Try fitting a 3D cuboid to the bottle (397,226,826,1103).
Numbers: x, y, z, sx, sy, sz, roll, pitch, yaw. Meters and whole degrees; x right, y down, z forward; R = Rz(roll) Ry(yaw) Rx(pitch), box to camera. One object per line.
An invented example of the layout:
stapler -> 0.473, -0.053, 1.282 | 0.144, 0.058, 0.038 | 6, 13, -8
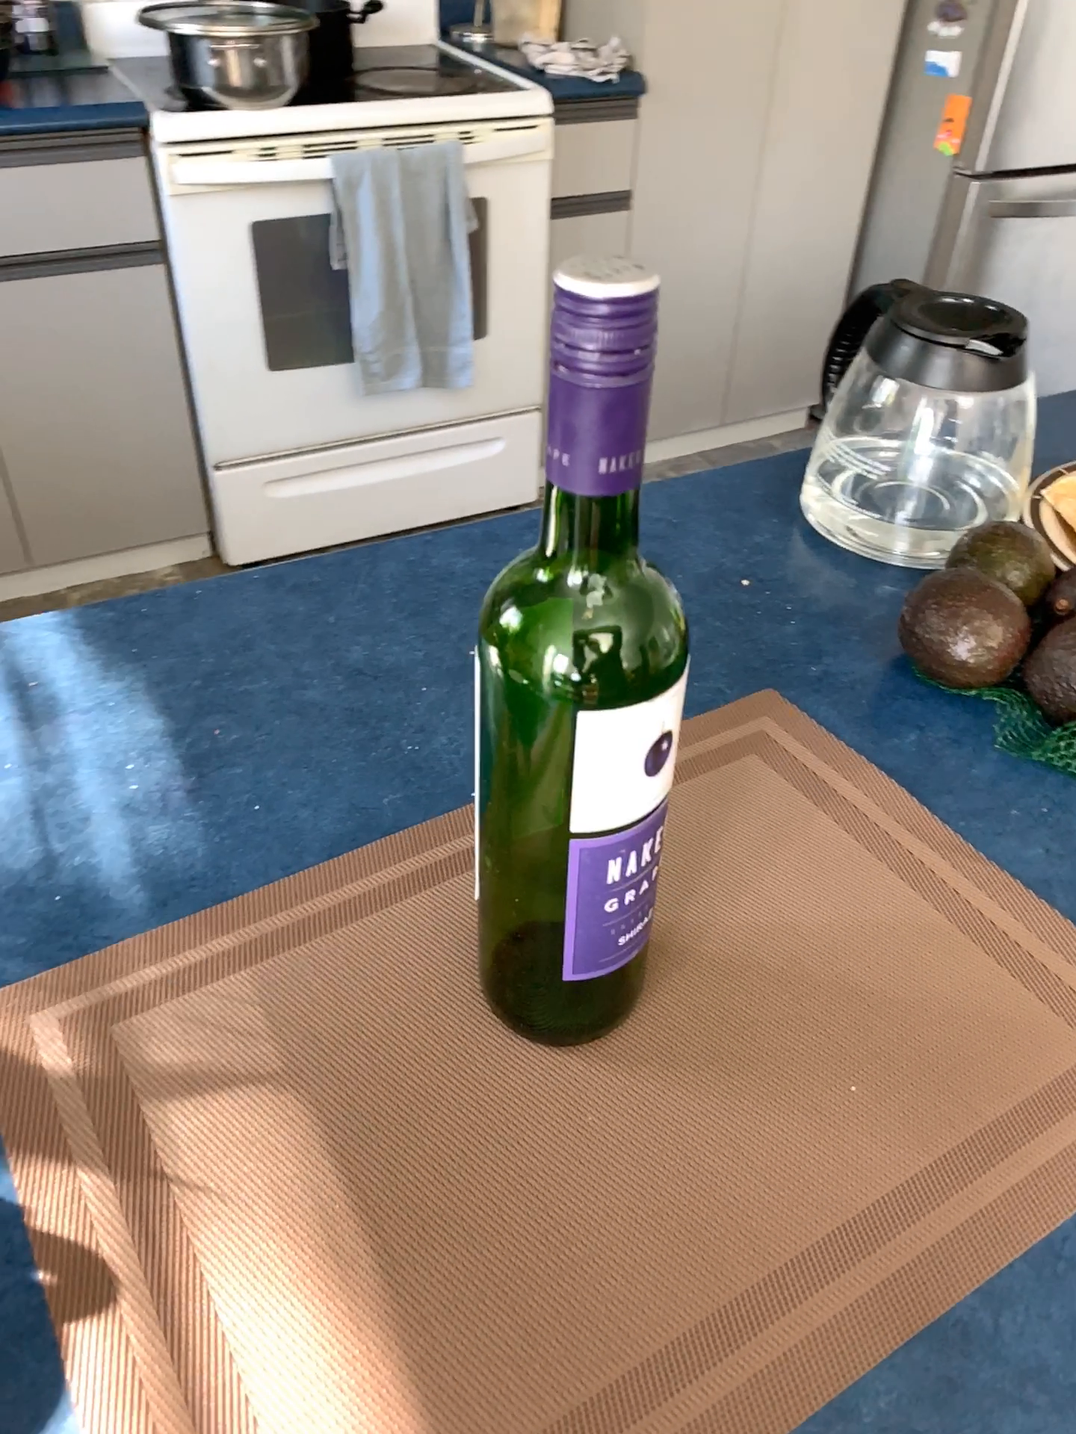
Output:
bottle -> 0.016, 0.000, 0.376 | 0.080, 0.287, 0.080 | 1, 39, -1
